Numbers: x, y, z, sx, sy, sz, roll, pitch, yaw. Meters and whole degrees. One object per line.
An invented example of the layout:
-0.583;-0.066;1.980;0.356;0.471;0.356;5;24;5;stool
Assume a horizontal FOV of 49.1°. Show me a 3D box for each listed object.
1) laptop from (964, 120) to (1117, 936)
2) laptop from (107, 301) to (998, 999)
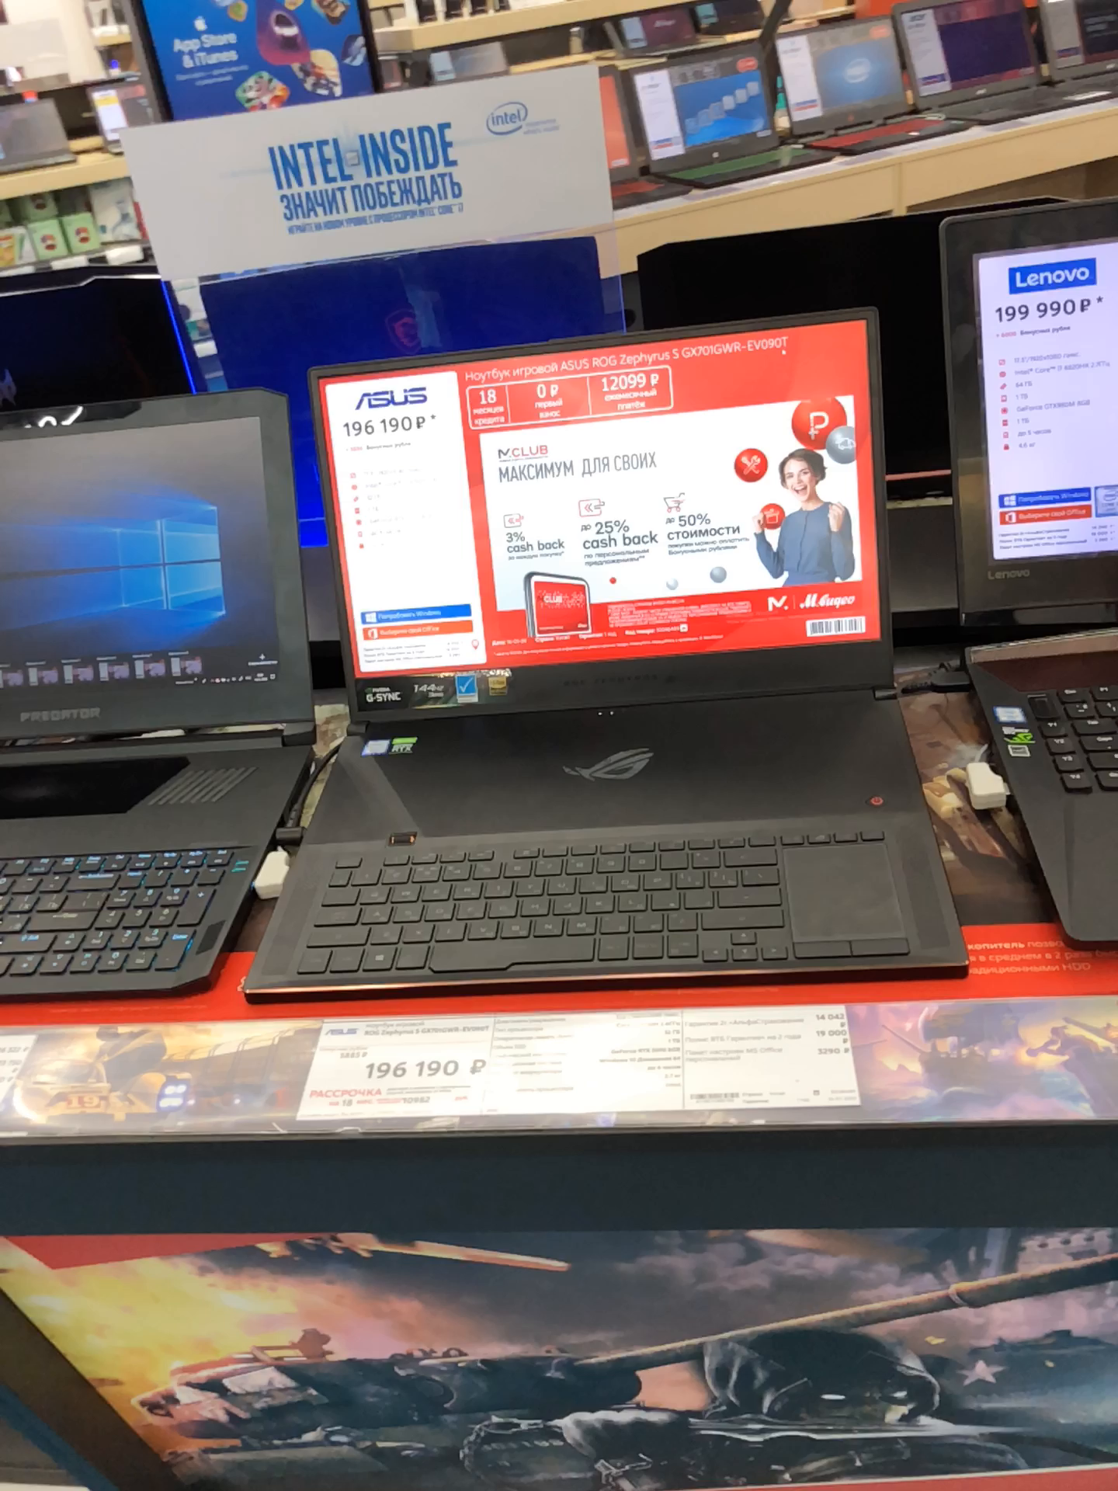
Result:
0.463;-0.142;0.679;0.374;0.248;0.414;-4;34;11;laptop
0.017;-0.078;0.750;0.390;0.240;0.379;-4;33;7;laptop
